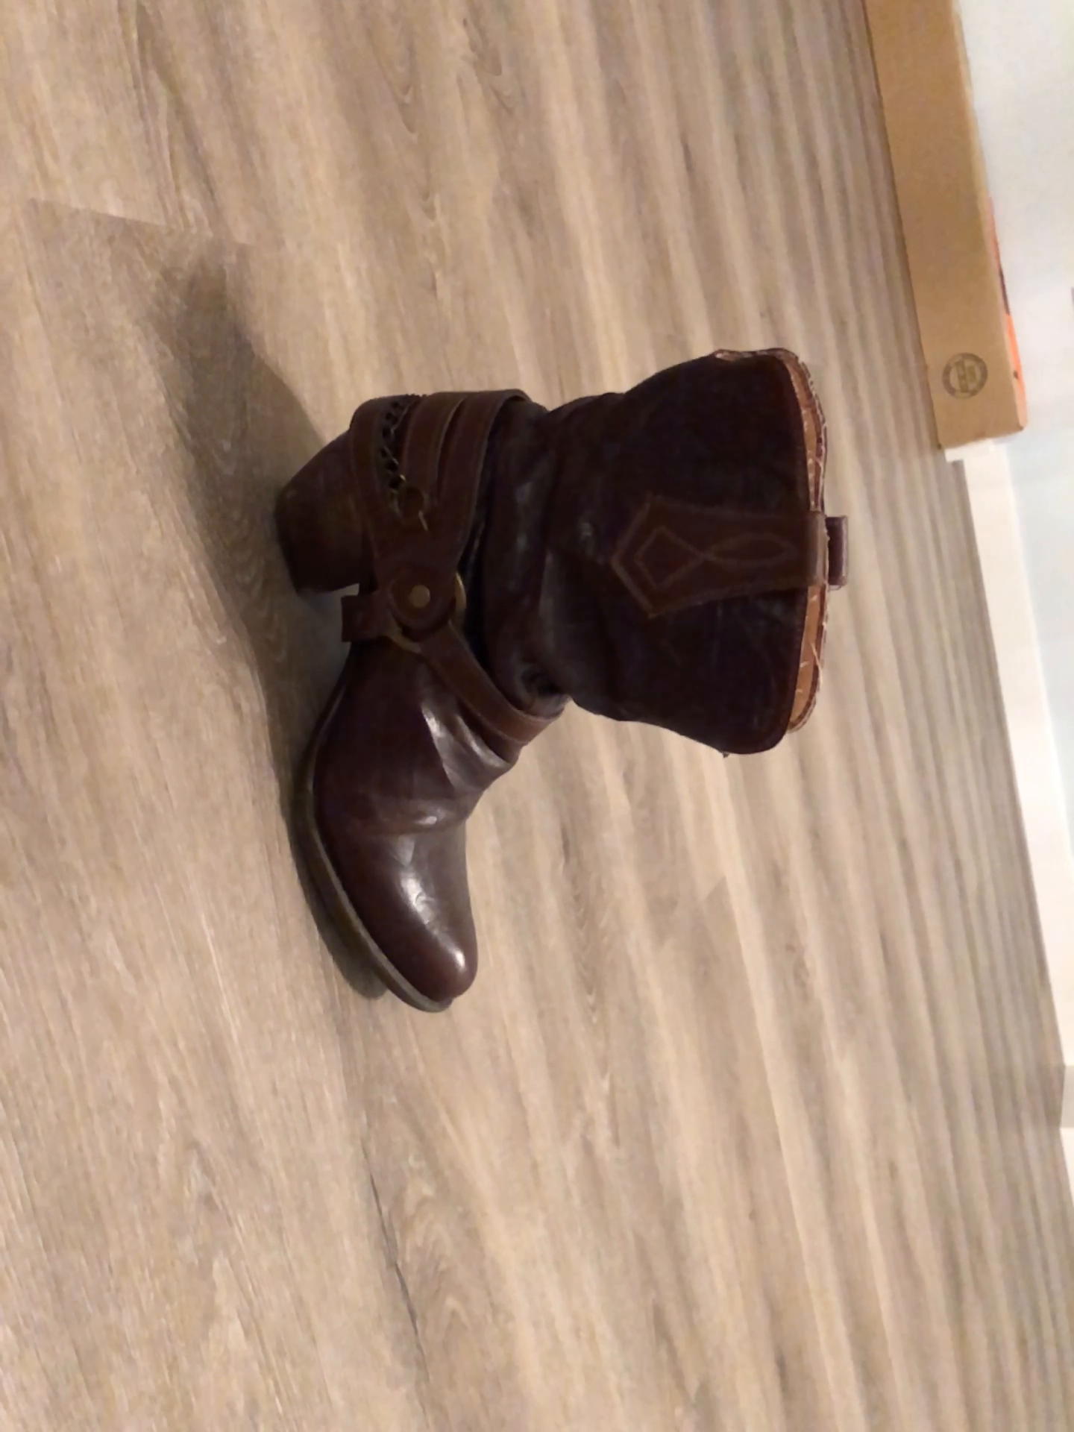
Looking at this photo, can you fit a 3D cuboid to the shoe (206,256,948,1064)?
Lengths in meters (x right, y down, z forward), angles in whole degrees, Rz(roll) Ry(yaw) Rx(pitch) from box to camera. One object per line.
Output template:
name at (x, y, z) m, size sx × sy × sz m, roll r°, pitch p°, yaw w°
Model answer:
shoe at (0.017, -0.007, 0.440) m, size 0.101 × 0.209 × 0.240 m, roll -21°, pitch 100°, yaw -63°
